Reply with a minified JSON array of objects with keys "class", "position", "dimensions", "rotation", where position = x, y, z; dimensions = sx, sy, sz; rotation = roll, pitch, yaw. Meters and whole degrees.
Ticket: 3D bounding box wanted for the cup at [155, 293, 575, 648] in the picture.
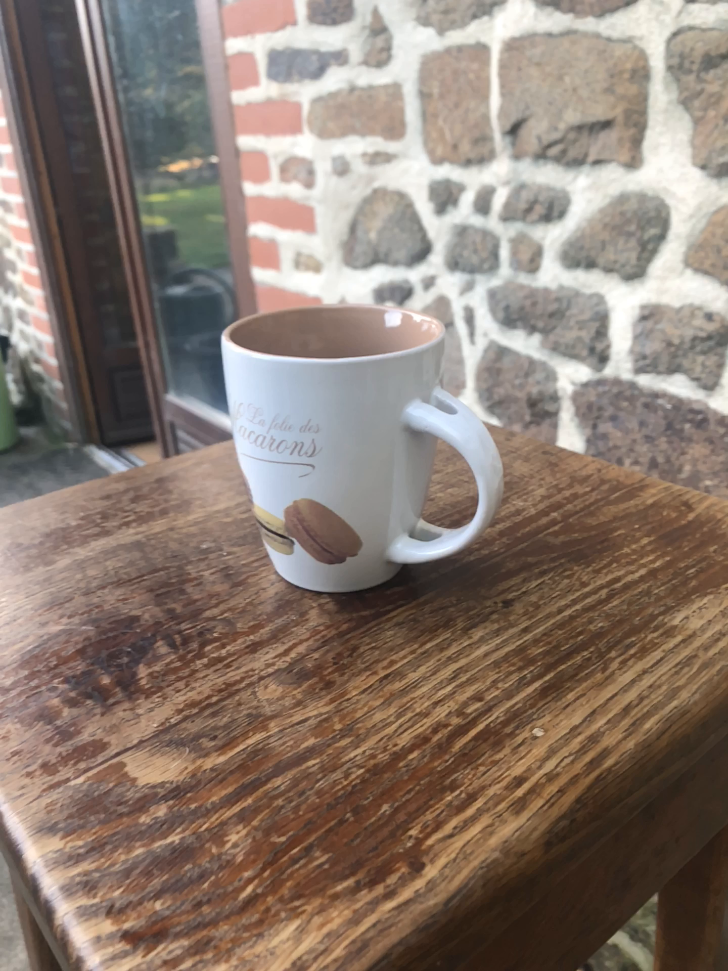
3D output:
[{"class":"cup","position":[0.003,-0.017,0.314],"dimensions":[0.123,0.090,0.094],"rotation":[13,29,33]}]
